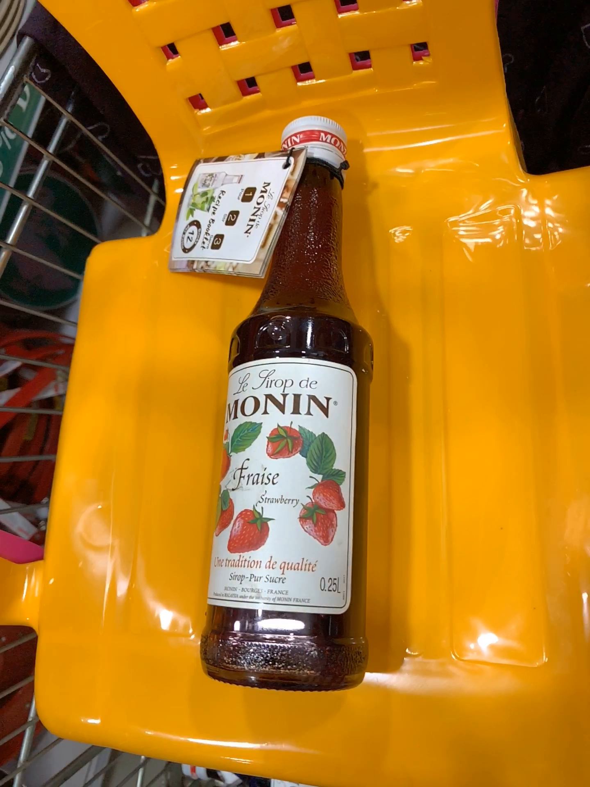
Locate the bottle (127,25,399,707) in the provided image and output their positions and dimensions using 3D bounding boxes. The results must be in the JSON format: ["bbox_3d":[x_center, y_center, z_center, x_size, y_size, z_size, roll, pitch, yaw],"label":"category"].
[{"bbox_3d":[0.000,-0.019,0.227,0.060,0.060,0.230,-2,69,19],"label":"bottle"}]
